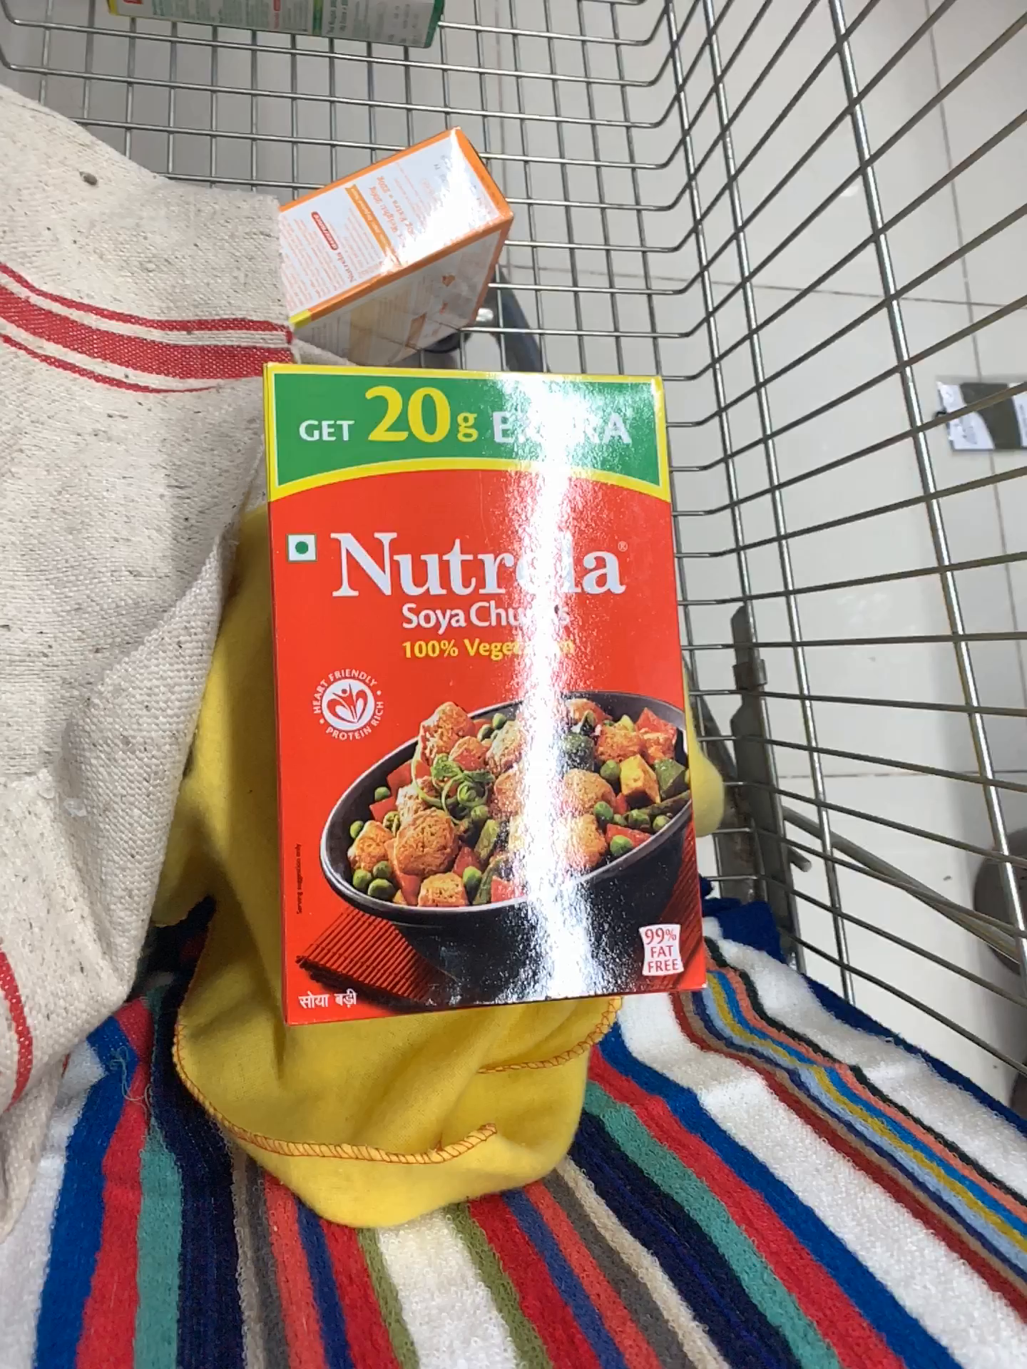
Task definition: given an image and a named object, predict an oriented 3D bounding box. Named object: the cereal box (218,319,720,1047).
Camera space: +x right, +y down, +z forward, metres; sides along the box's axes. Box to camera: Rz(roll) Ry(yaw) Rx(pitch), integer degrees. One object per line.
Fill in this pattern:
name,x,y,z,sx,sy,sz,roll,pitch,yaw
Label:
cereal box,-0.017,-0.002,0.299,0.120,0.060,0.180,-2,83,-12
